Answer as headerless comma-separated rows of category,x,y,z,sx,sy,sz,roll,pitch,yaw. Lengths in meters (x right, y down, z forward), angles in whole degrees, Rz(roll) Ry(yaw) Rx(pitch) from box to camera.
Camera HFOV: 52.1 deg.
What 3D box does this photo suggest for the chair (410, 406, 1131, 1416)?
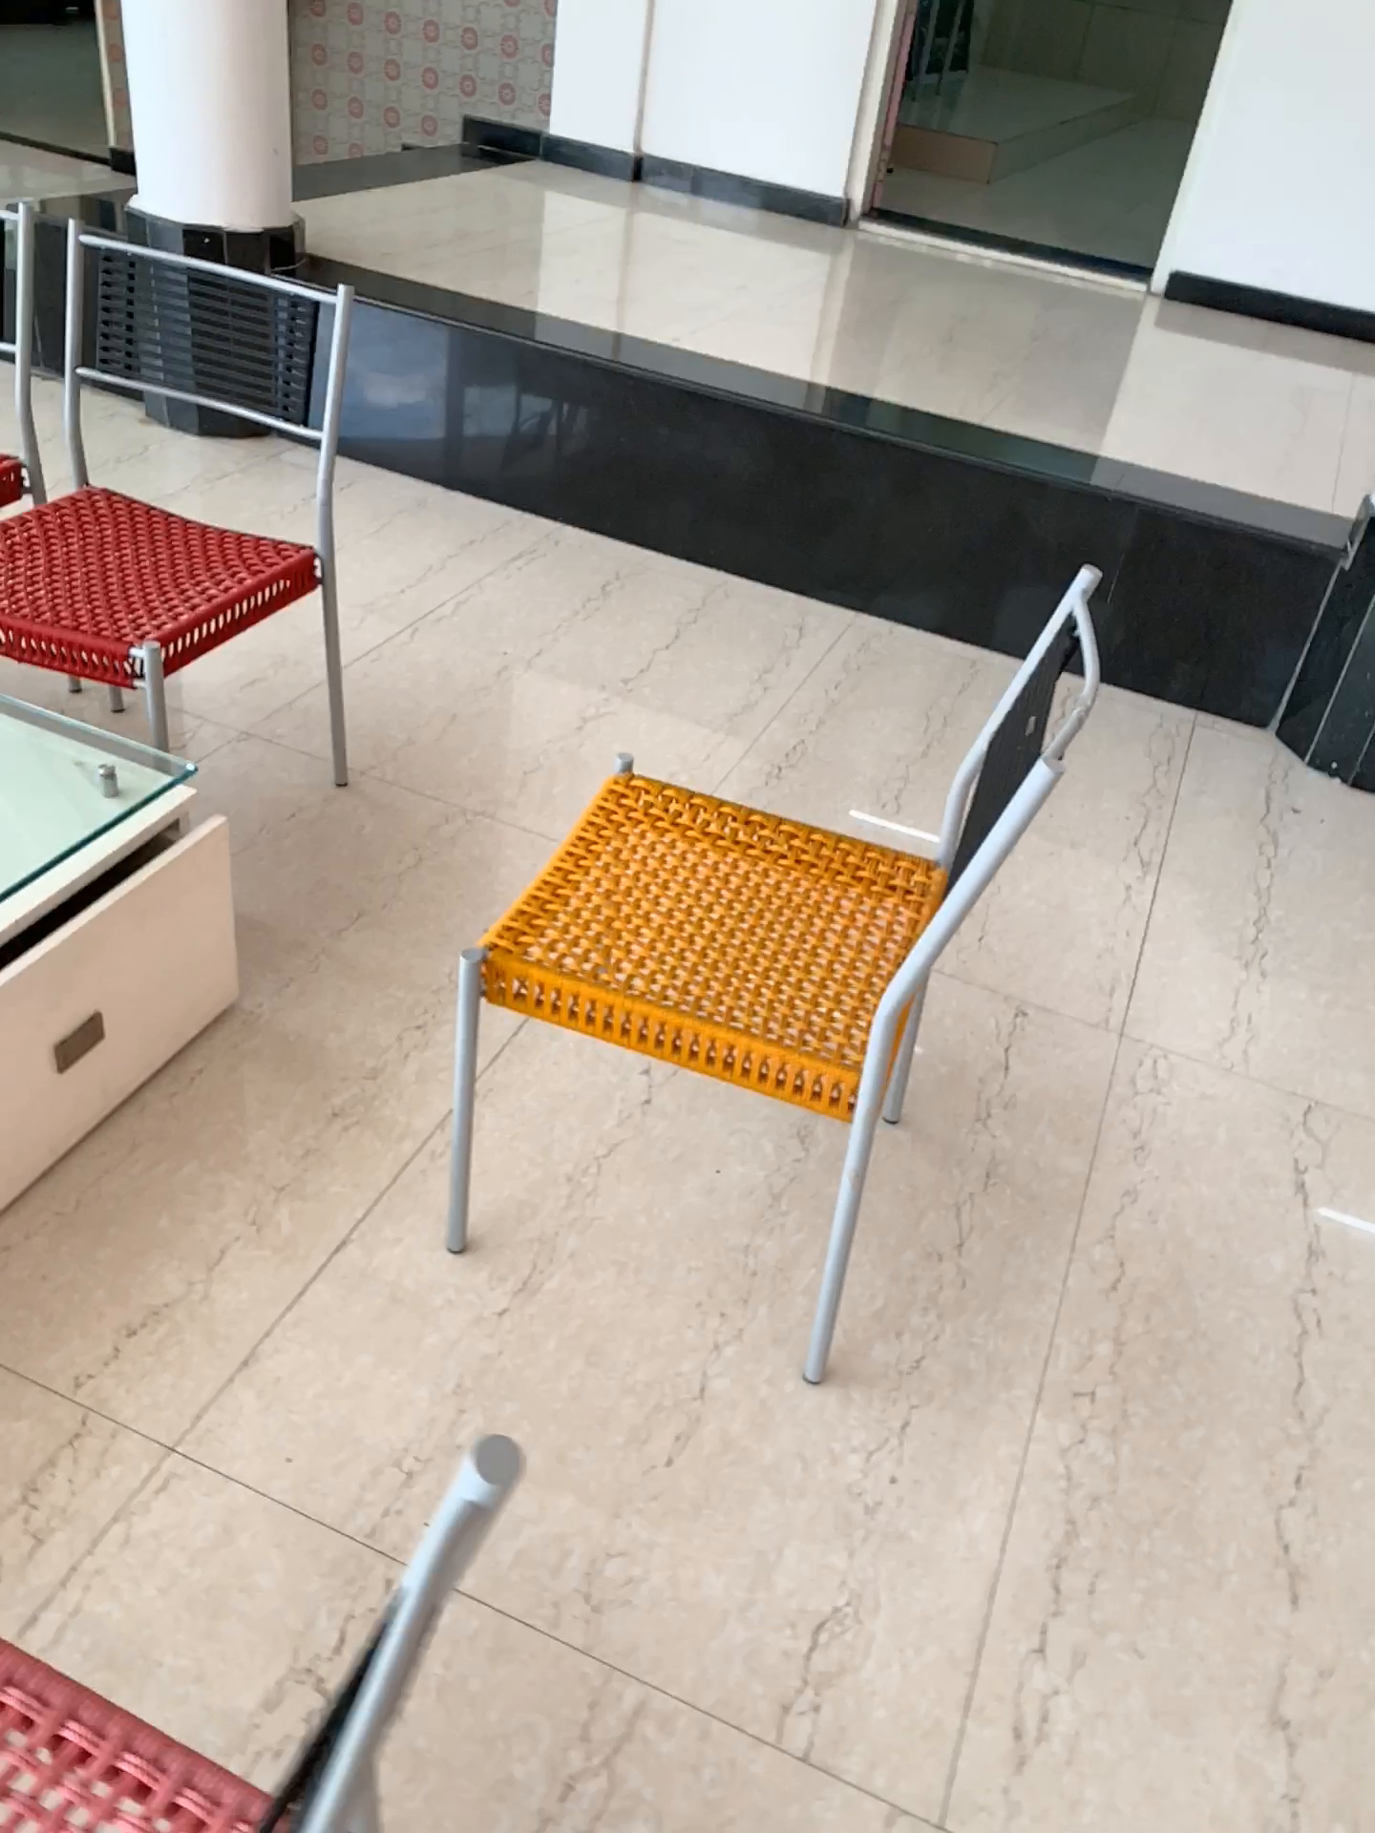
chair,0.068,-0.018,1.488,0.510,0.803,0.524,18,36,12
